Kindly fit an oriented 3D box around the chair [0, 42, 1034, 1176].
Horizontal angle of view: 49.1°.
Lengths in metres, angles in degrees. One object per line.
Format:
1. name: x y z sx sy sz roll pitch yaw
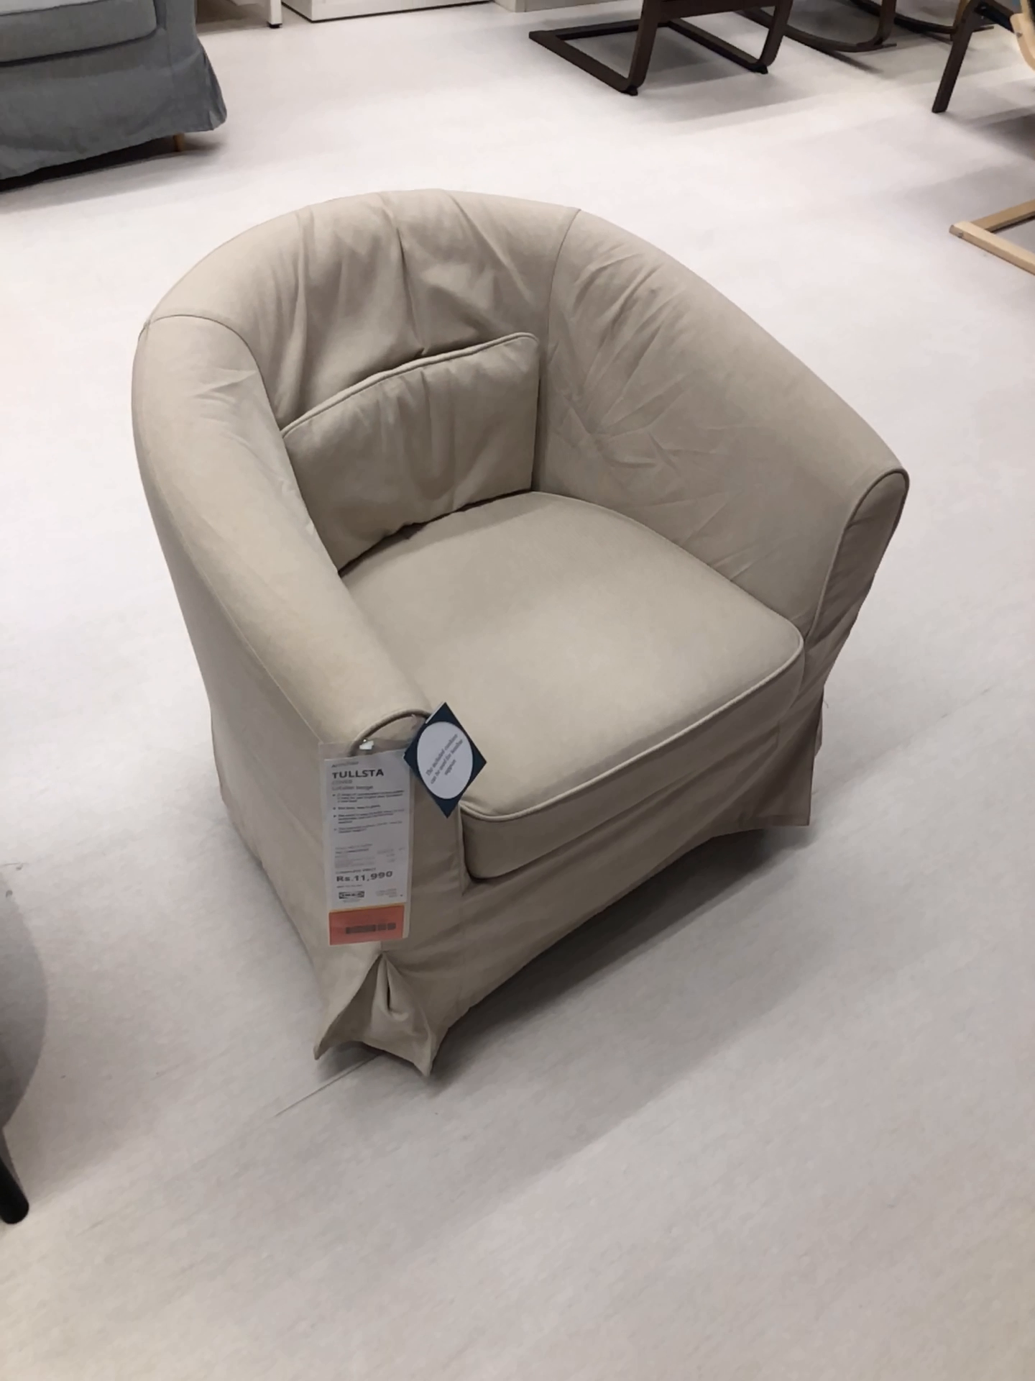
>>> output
1. chair: 0.015 -0.143 1.315 0.863 0.805 0.702 -28 55 -29
